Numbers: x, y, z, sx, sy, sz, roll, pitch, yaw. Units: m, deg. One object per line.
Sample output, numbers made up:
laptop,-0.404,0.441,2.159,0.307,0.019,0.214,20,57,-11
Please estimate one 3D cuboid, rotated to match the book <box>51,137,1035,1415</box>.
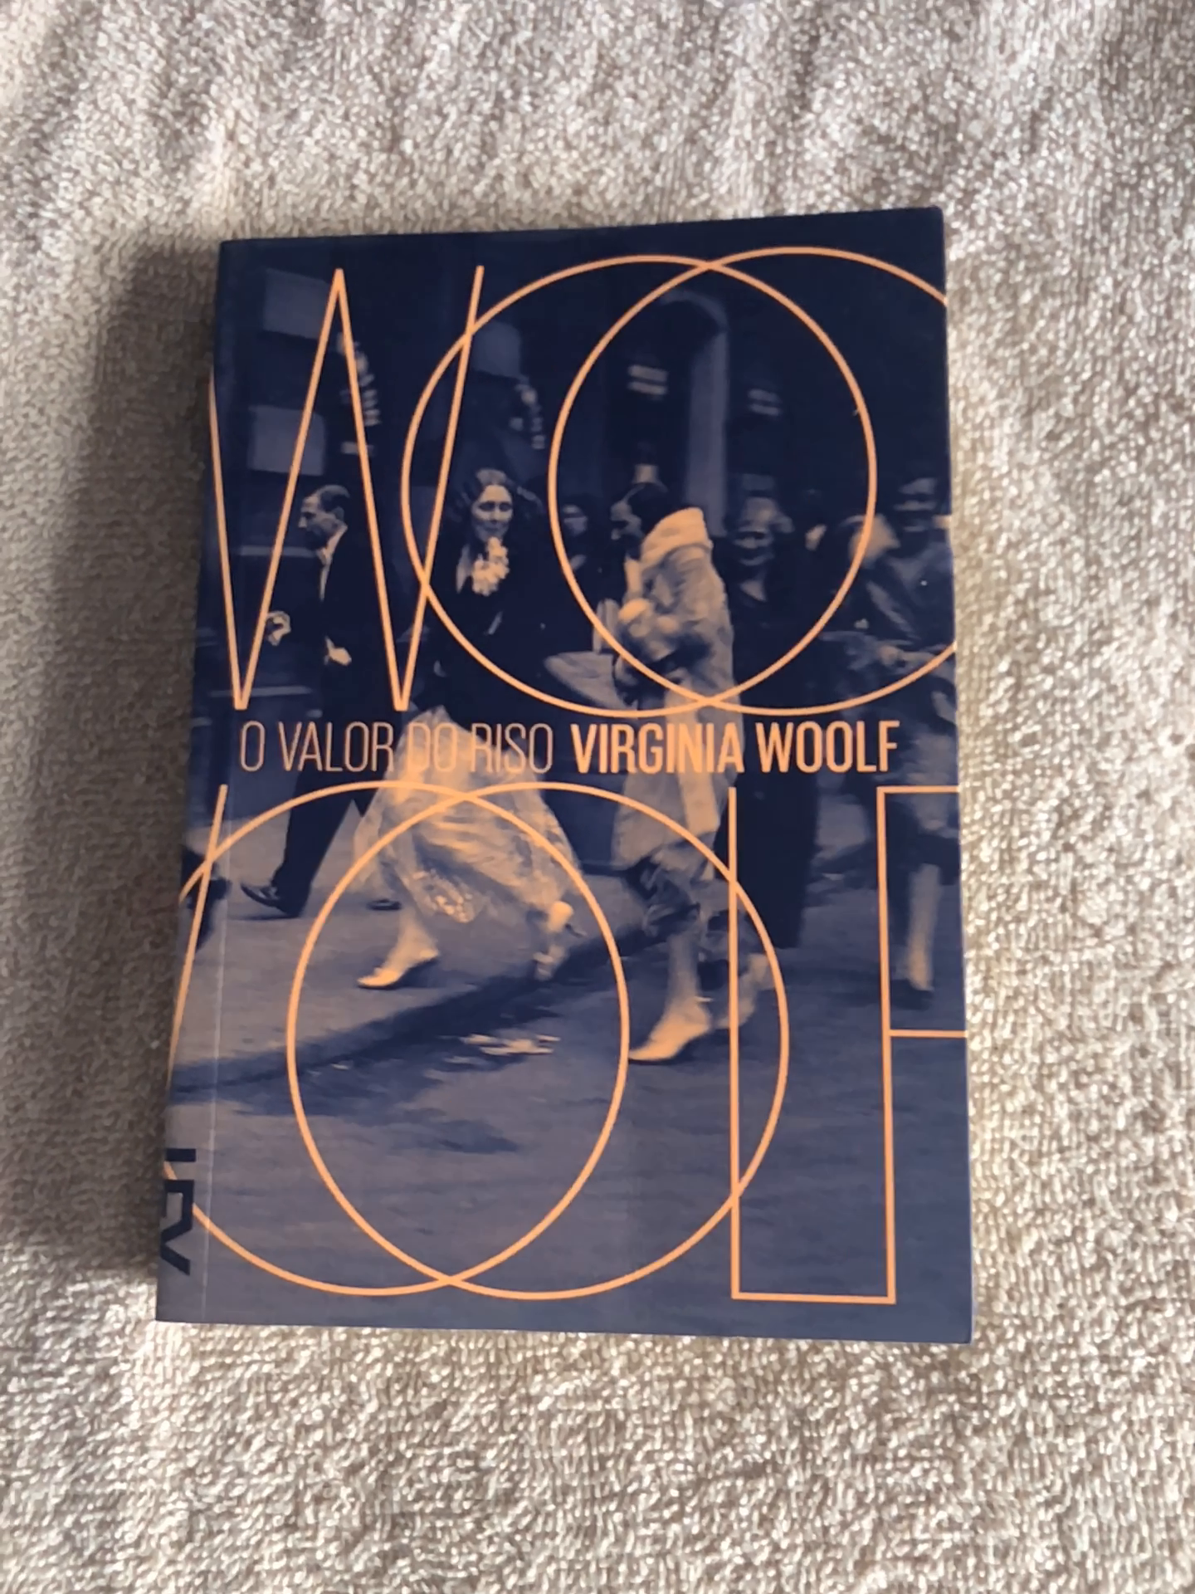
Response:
book,-0.007,-0.005,0.225,0.140,0.050,0.190,1,84,0
